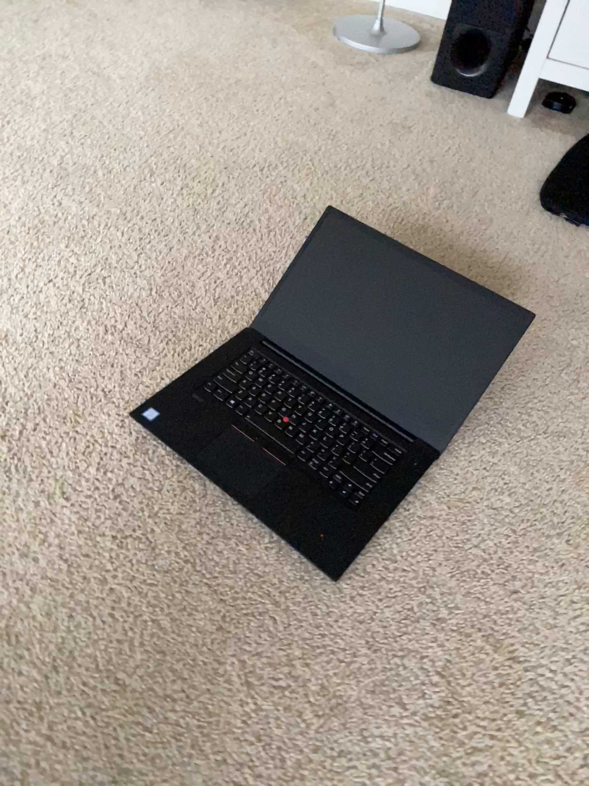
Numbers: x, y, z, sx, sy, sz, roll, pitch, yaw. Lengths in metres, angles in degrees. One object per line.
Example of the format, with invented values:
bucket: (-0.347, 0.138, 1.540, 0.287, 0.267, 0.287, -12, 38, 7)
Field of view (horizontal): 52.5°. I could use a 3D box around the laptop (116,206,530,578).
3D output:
laptop: (0.050, -0.041, 0.840, 0.360, 0.142, 0.434, 35, 54, 21)
